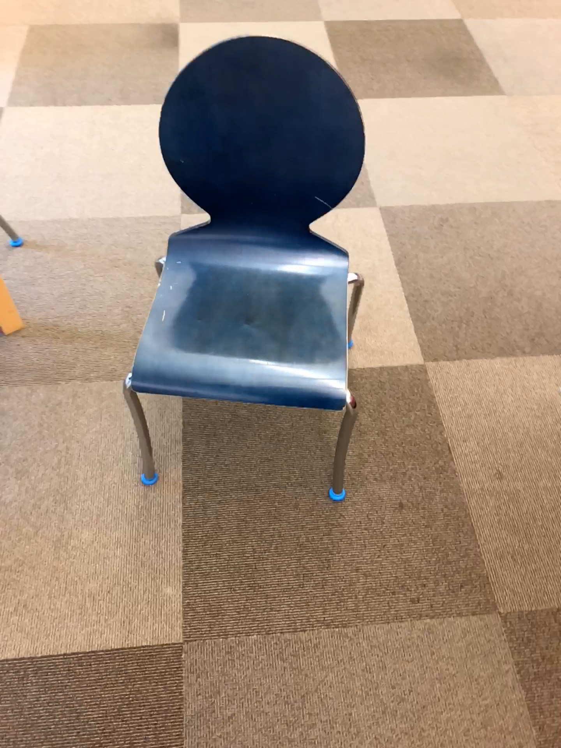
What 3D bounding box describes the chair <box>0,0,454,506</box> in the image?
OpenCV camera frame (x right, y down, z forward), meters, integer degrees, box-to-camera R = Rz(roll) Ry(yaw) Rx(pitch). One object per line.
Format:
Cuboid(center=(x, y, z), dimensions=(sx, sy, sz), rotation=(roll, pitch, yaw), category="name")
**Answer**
Cuboid(center=(-0.055, -0.158, 1.079), dimensions=(0.497, 0.699, 0.475), rotation=(5, 54, 1), category="chair")
